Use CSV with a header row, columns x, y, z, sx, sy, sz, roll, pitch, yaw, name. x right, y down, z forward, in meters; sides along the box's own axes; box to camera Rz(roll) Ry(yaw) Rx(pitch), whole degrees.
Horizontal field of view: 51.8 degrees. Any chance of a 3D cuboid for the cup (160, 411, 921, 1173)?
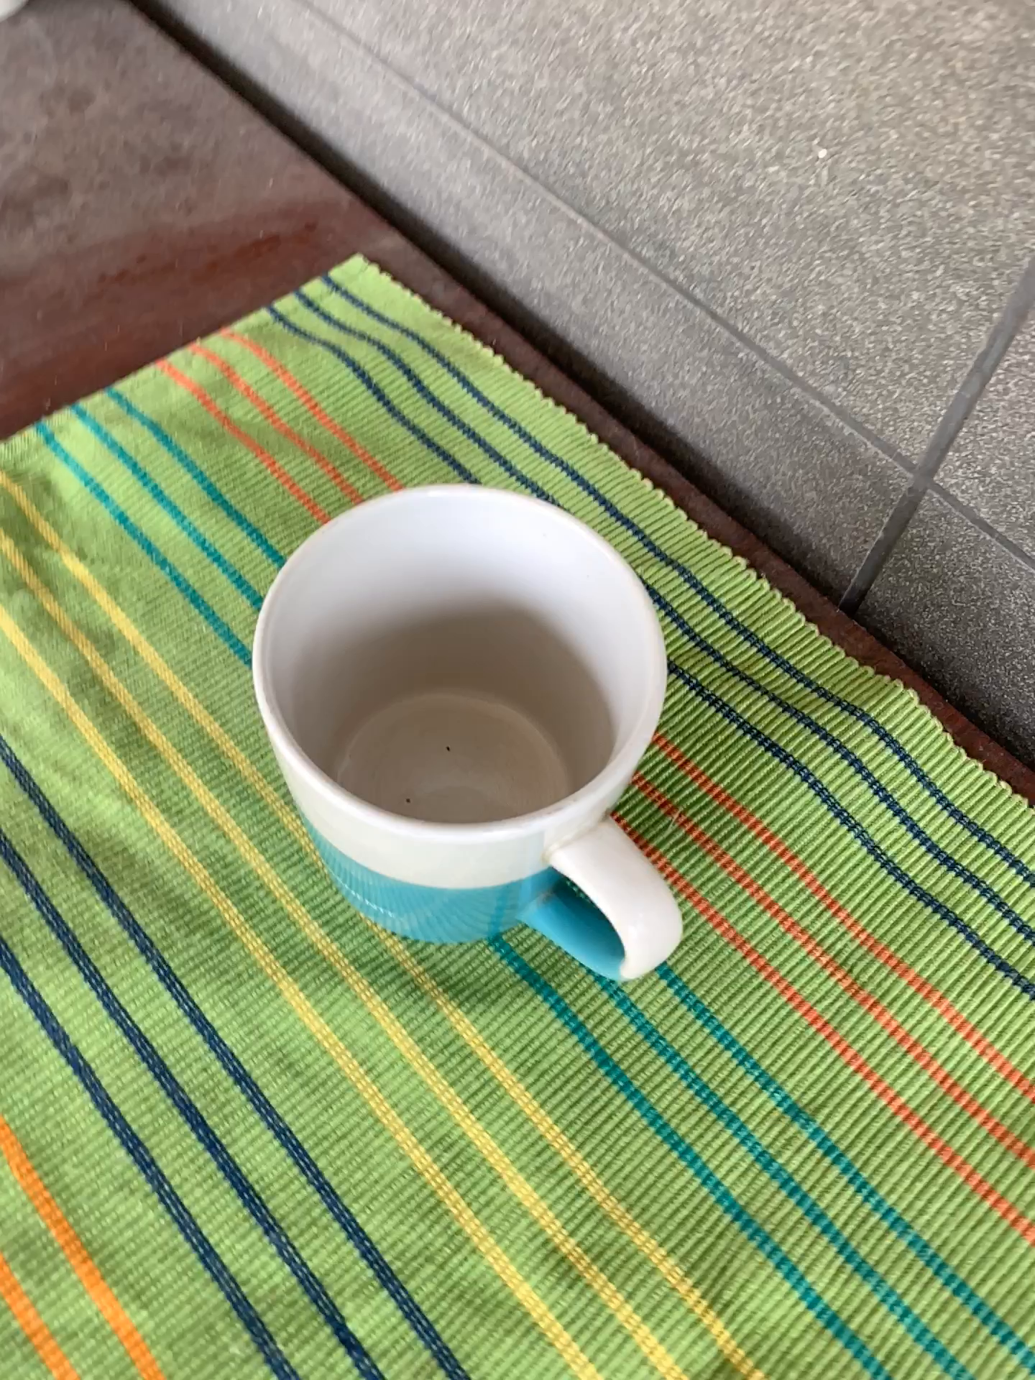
x,y,z,sx,sy,sz,roll,pitch,yaw,name
0.000,0.026,0.278,0.100,0.100,0.140,-37,68,-24,cup
